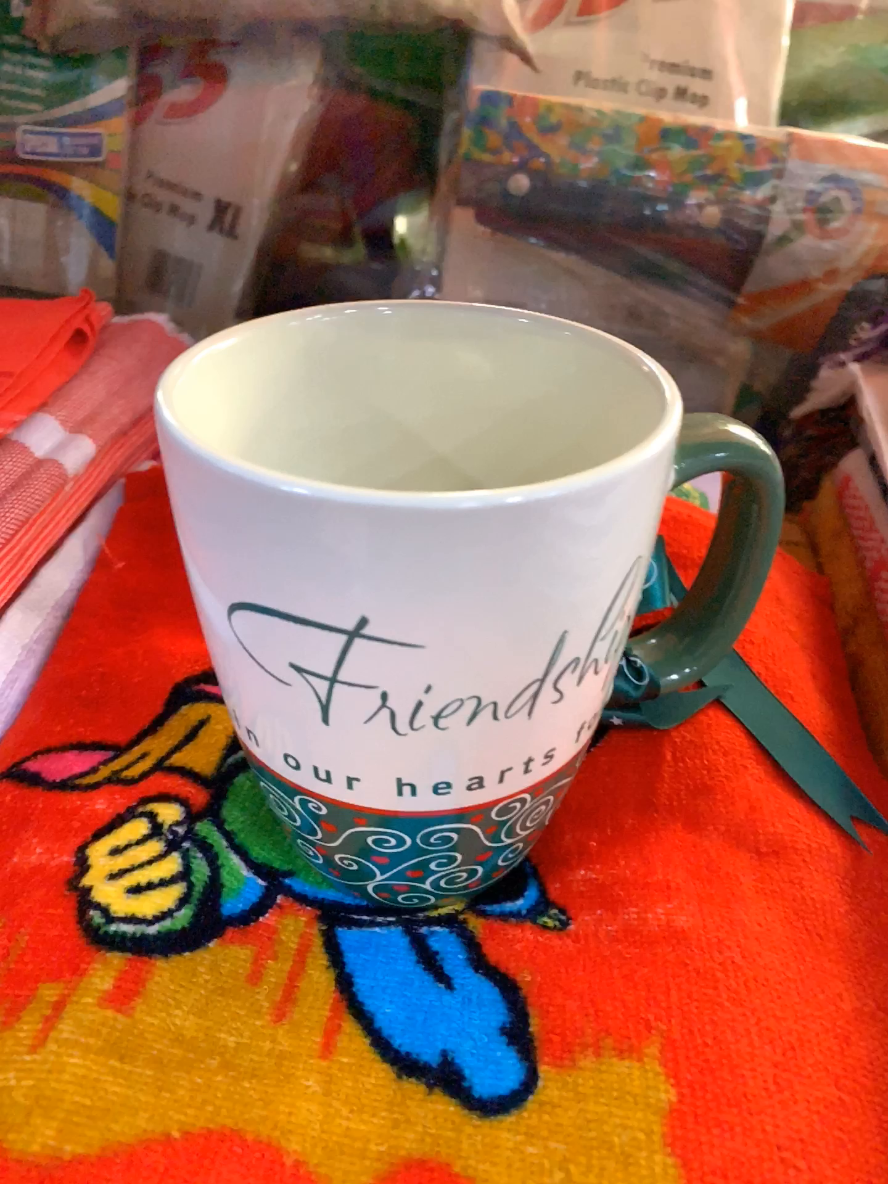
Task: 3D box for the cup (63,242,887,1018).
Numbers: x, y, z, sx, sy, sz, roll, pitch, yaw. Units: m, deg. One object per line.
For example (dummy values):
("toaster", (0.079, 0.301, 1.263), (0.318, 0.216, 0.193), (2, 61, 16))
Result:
("cup", (0.004, -0.005, 0.193), (0.132, 0.093, 0.101), (-12, 38, -18))
